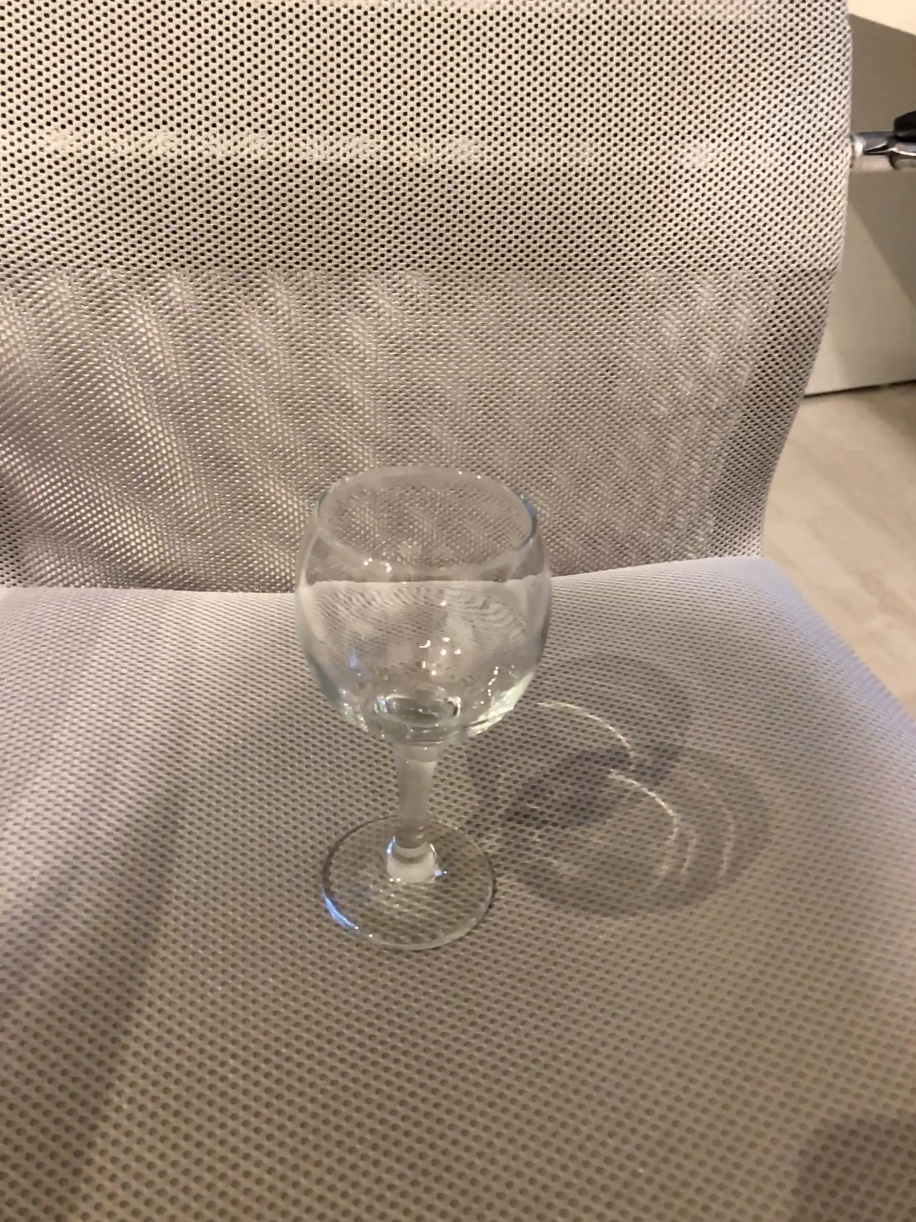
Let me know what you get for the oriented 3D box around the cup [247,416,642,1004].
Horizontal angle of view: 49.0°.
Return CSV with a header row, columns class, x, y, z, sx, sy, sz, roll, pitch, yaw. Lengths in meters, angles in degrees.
class,x,y,z,sx,sy,sz,roll,pitch,yaw
cup,-0.008,0.037,0.356,0.081,0.172,0.088,2,39,-2
